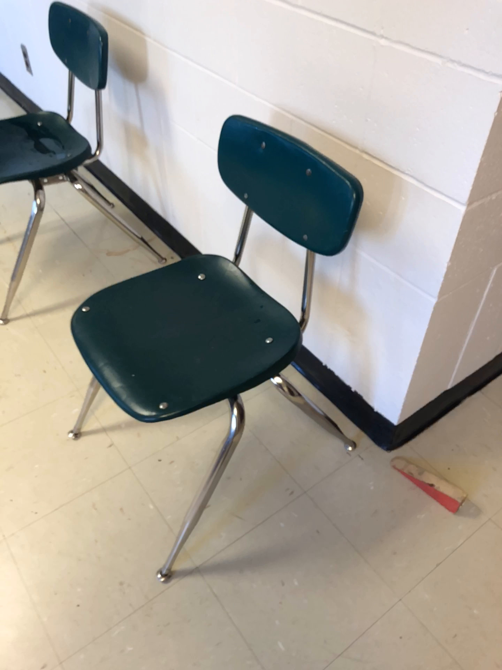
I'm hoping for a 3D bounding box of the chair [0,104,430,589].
[{"bbox_3d":[-0.086,0.009,1.160,0.591,0.695,0.483,-27,49,-26],"label":"chair"}]
